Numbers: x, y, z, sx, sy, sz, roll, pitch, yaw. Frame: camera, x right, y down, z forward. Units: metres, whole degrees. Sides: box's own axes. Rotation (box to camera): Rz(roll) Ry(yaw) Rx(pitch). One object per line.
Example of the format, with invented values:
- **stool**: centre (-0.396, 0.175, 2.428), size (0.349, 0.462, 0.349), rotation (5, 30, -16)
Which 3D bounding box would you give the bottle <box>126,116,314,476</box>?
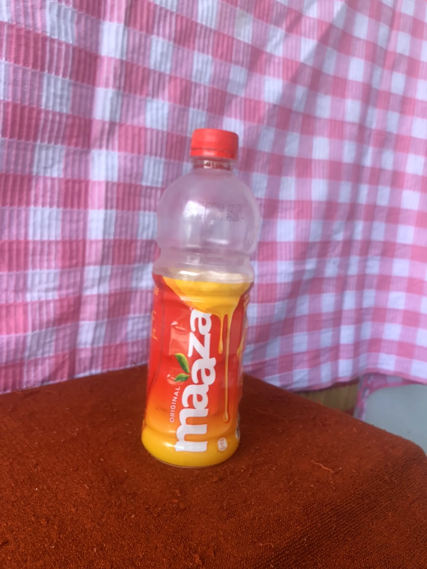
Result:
- **bottle**: centre (-0.004, 0.009, 0.314), size (0.080, 0.210, 0.070), rotation (6, 10, -16)
